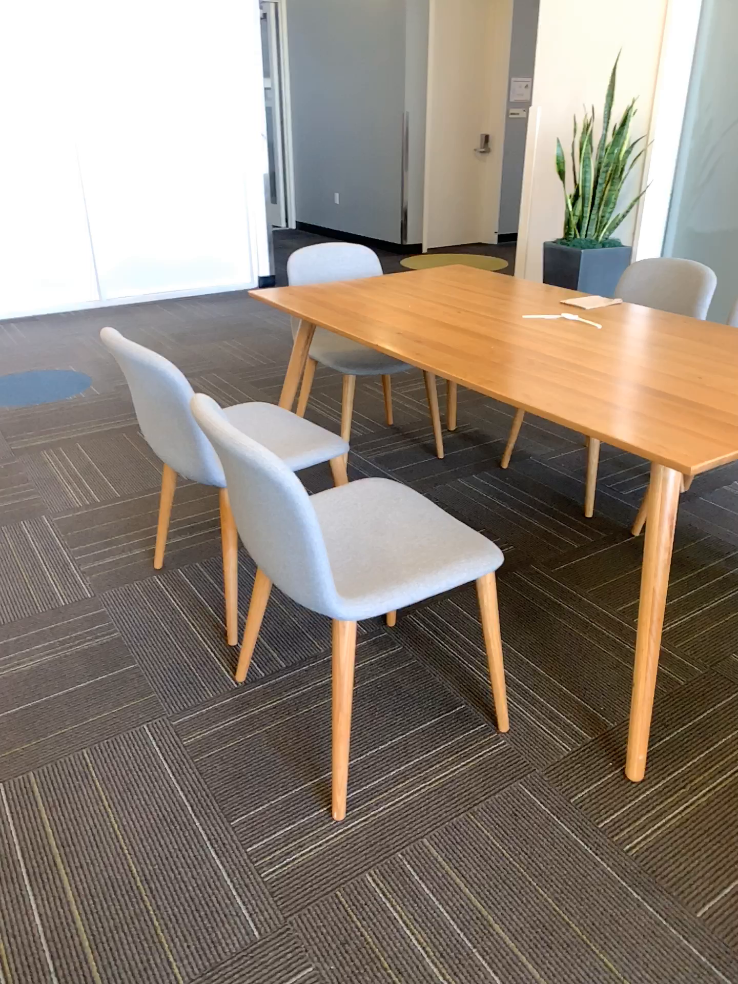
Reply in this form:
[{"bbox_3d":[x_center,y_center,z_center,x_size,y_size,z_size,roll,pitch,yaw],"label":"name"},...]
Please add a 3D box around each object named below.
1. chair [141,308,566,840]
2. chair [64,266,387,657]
[{"bbox_3d":[-0.034,0.114,1.599,0.581,0.805,0.573,-20,32,-30],"label":"chair"},{"bbox_3d":[-0.365,-0.130,2.082,0.581,0.805,0.573,-23,34,-34],"label":"chair"}]
